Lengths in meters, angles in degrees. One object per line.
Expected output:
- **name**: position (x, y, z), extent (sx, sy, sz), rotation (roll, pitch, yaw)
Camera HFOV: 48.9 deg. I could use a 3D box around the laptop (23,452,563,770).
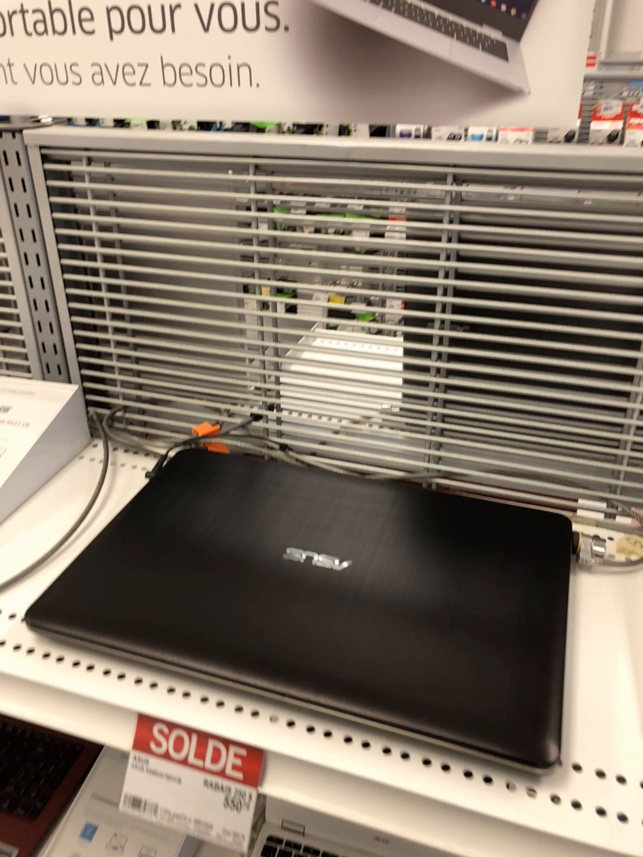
- **laptop**: position (-0.004, 0.117, 0.571), extent (0.368, 0.013, 0.235), rotation (10, 33, 15)
